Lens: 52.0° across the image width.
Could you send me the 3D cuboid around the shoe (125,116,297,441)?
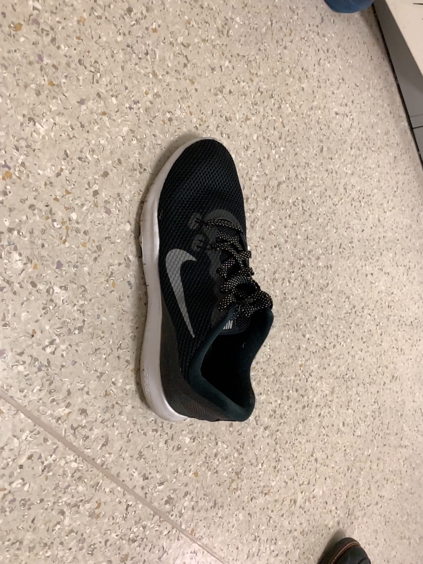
[{"bbox_3d":[0.002,-0.001,0.408,0.114,0.093,0.252,6,86,-44],"label":"shoe"}]
